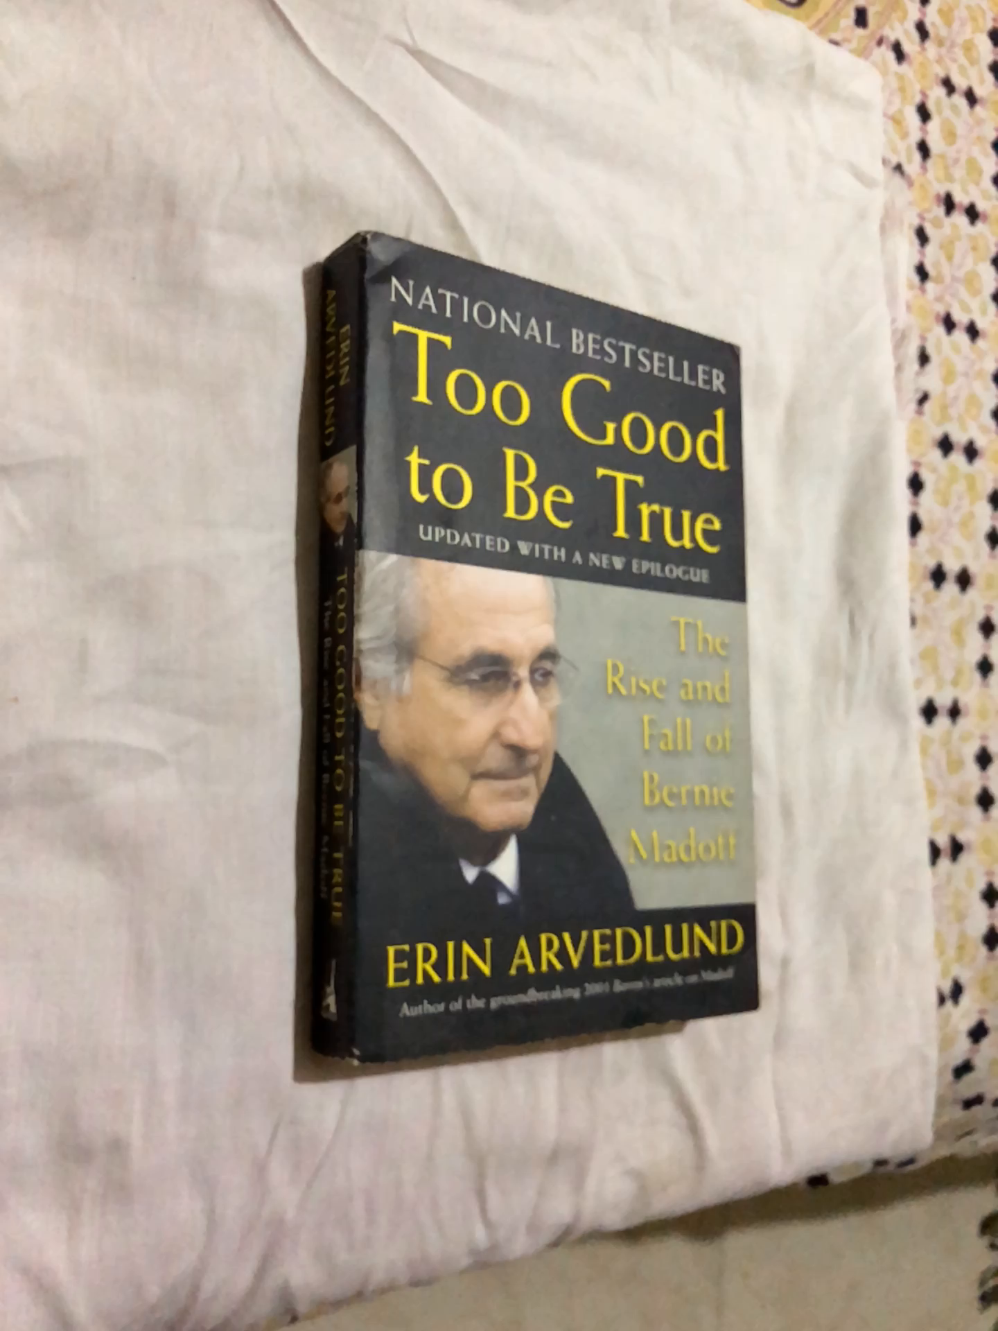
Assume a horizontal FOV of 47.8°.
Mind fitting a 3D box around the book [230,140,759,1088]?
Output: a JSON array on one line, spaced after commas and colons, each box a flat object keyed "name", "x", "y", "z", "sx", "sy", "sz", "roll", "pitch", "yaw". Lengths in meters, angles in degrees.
[{"name": "book", "x": 0.005, "y": -0.012, "z": 0.321, "sx": 0.151, "sy": 0.030, "sz": 0.230, "roll": 5, "pitch": 81, "yaw": -31}]
